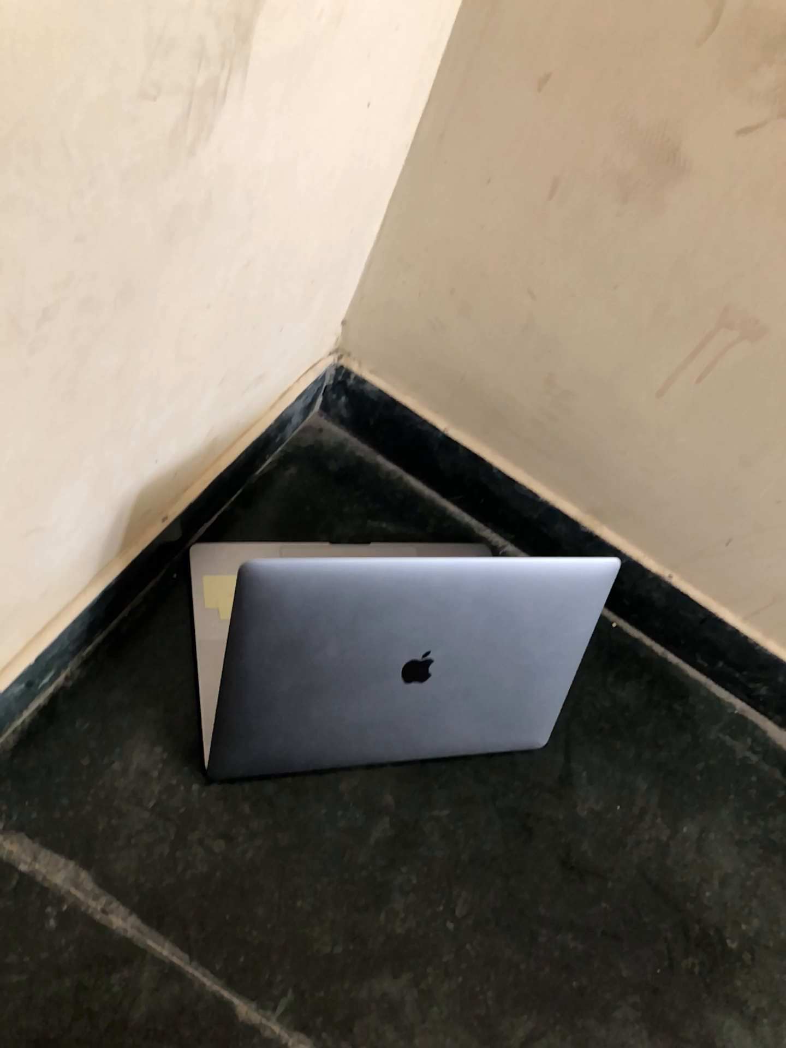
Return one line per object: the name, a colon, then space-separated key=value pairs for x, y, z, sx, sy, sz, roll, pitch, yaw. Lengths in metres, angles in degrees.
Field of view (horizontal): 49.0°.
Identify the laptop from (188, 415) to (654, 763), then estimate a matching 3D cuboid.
laptop: x=0.004 y=0.062 z=0.774 sx=0.329 sy=0.198 sz=0.221 roll=1 pitch=58 yaw=-20
